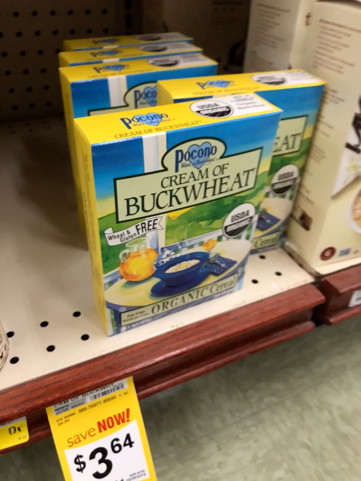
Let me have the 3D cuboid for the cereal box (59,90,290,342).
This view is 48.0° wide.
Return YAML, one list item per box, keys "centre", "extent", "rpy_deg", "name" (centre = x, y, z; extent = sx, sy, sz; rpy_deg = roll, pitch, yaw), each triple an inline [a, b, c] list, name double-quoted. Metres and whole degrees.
- centre: [-0.003, -0.015, 0.281]
  extent: [0.130, 0.150, 0.040]
  rpy_deg: [-16, 41, -23]
  name: "cereal box"
